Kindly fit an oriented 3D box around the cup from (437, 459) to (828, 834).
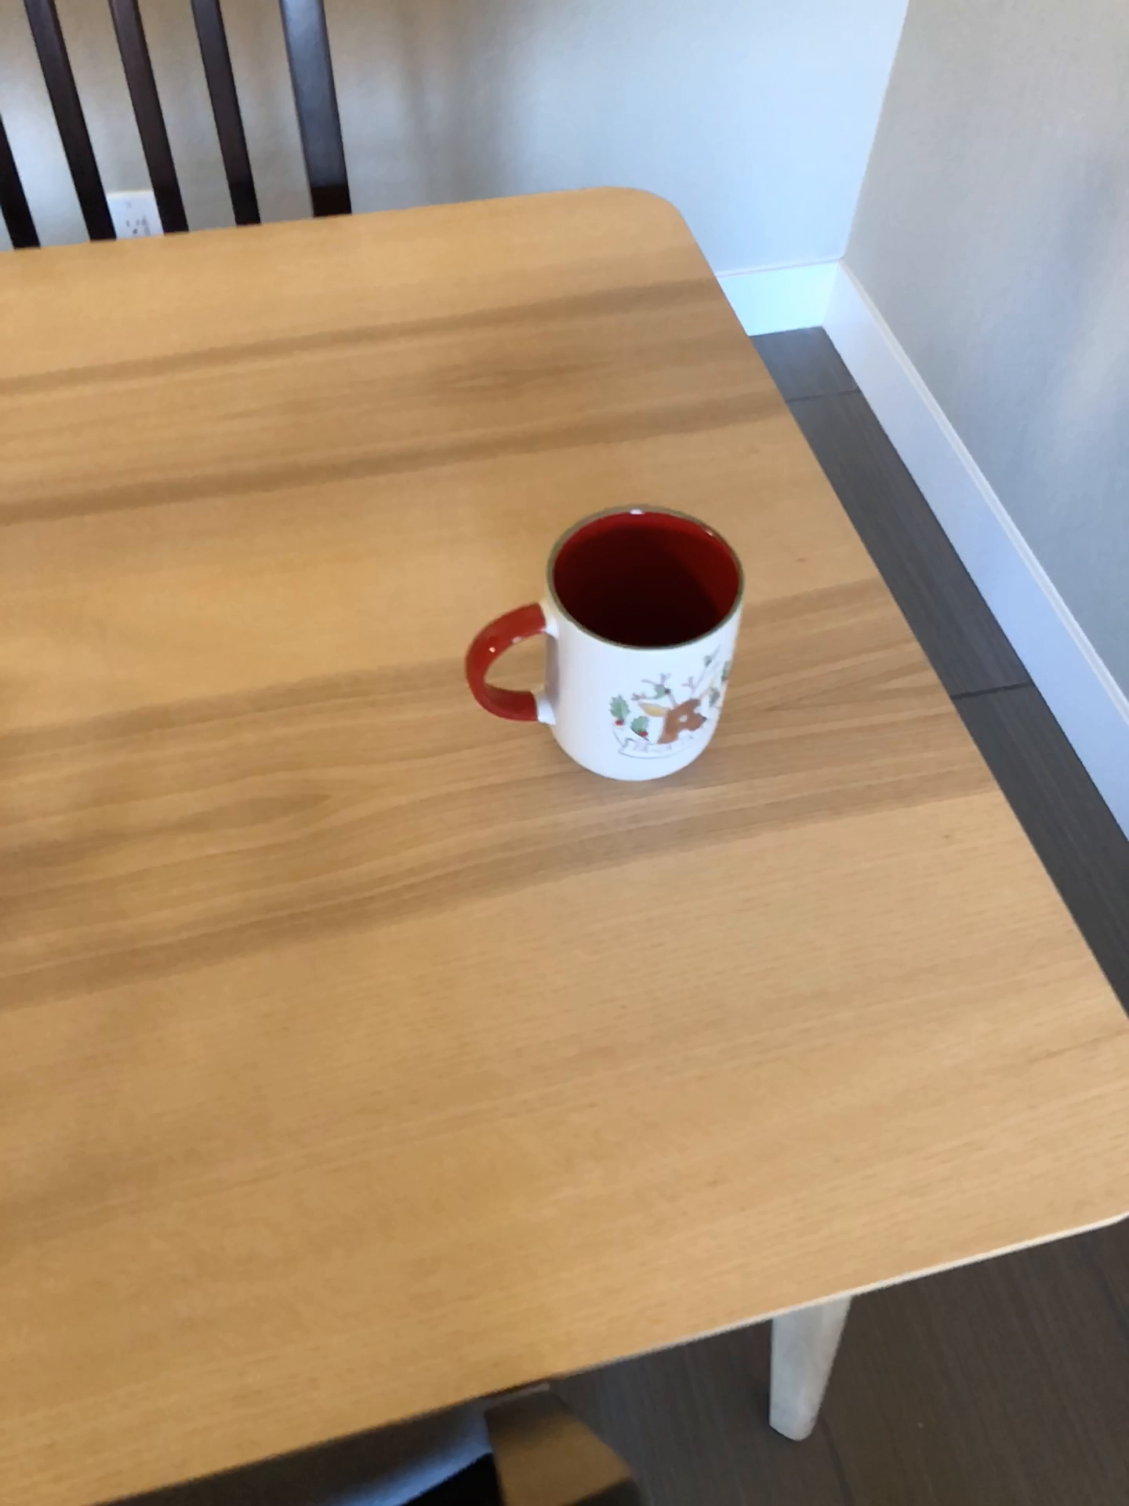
[{"bbox_3d":[0.026,-0.050,0.572,0.140,0.100,0.100,-17,55,-14],"label":"cup"}]
